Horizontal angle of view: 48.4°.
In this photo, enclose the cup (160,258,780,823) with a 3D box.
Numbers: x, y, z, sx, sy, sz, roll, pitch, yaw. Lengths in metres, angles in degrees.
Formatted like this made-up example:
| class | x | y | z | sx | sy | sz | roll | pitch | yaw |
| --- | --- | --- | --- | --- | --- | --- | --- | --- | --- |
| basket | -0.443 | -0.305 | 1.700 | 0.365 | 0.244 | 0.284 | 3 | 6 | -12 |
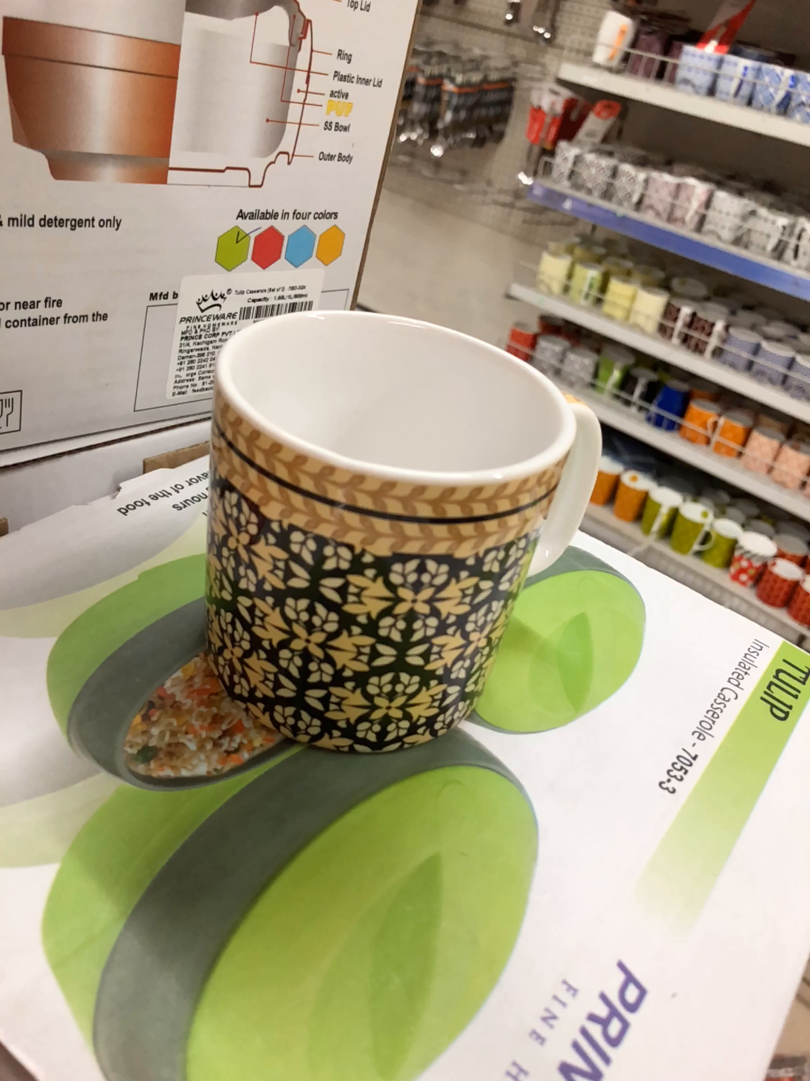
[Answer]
| class | x | y | z | sx | sy | sz | roll | pitch | yaw |
| --- | --- | --- | --- | --- | --- | --- | --- | --- | --- |
| cup | 0.009 | -0.009 | 0.212 | 0.111 | 0.089 | 0.070 | -13 | 40 | -33 |
